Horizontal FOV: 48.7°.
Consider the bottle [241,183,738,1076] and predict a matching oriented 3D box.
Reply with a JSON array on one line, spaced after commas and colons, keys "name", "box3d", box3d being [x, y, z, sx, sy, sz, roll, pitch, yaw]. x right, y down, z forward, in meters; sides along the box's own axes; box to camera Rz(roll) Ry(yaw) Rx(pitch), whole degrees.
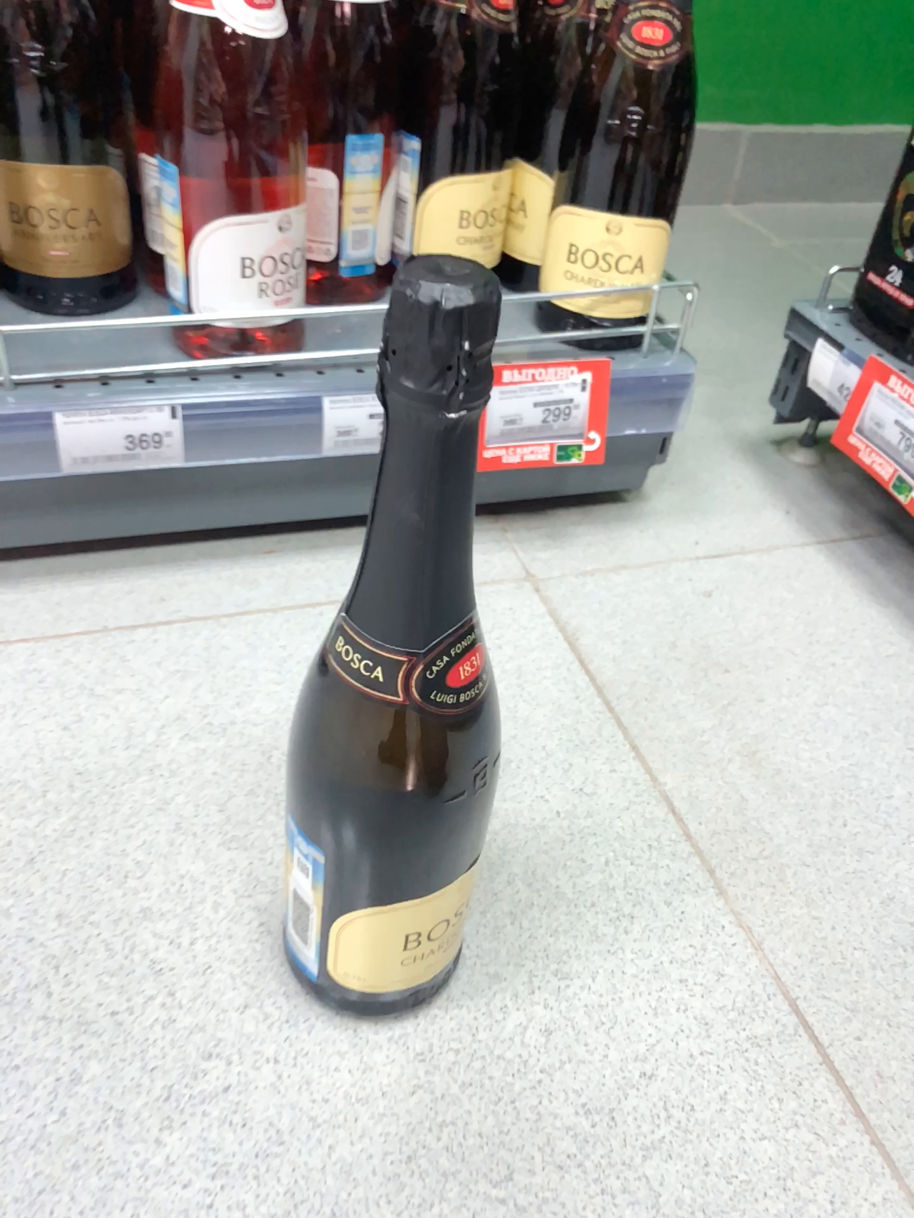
[{"name": "bottle", "box3d": [-0.008, 0.026, 0.365, 0.100, 0.311, 0.090, -28, 51, -37]}]
